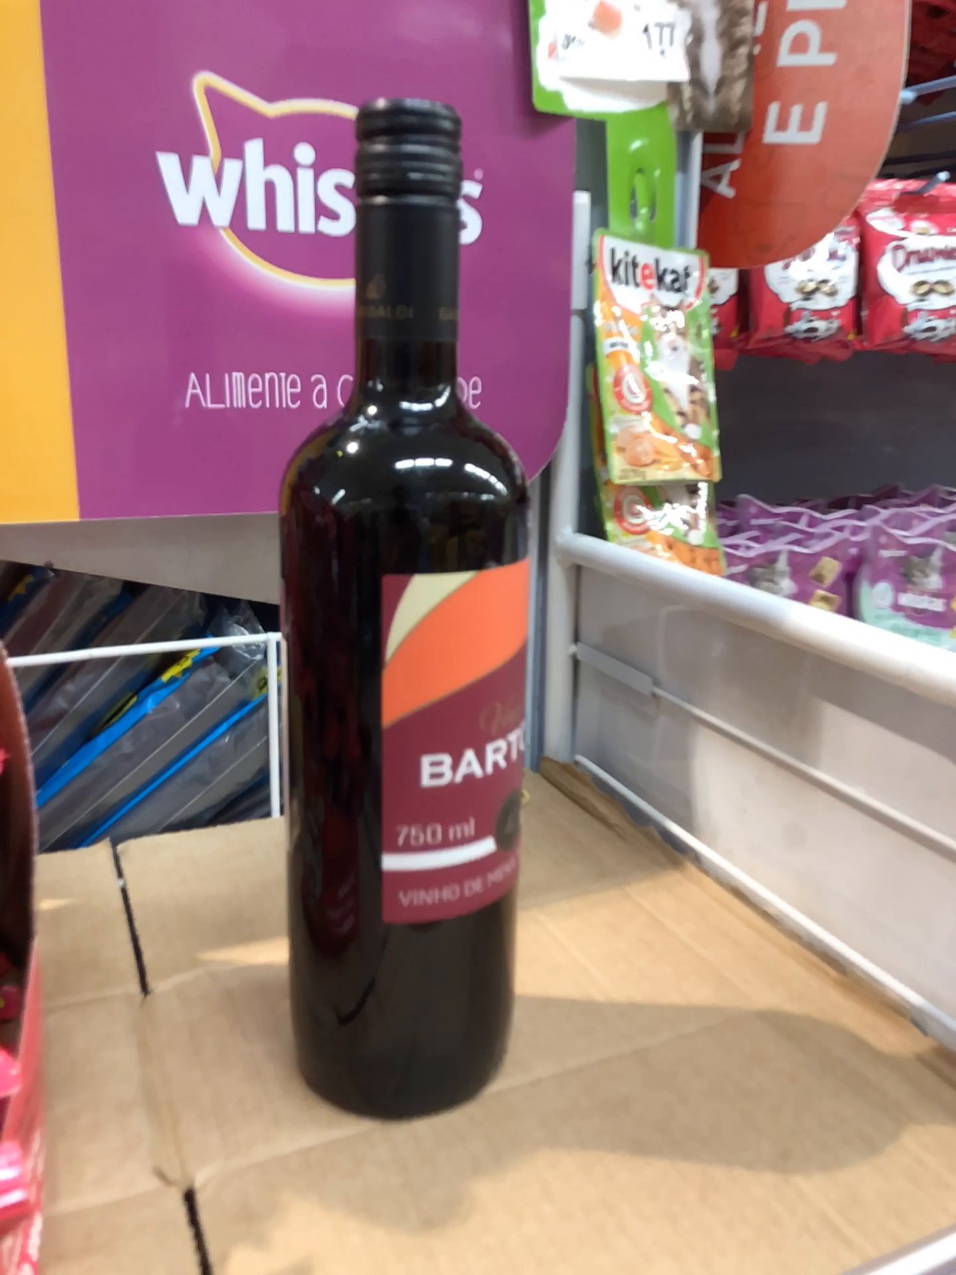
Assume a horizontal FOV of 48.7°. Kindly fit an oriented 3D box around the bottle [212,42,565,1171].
[{"bbox_3d":[-0.022,-0.001,0.320,0.060,0.298,0.080,8,16,27],"label":"bottle"}]
